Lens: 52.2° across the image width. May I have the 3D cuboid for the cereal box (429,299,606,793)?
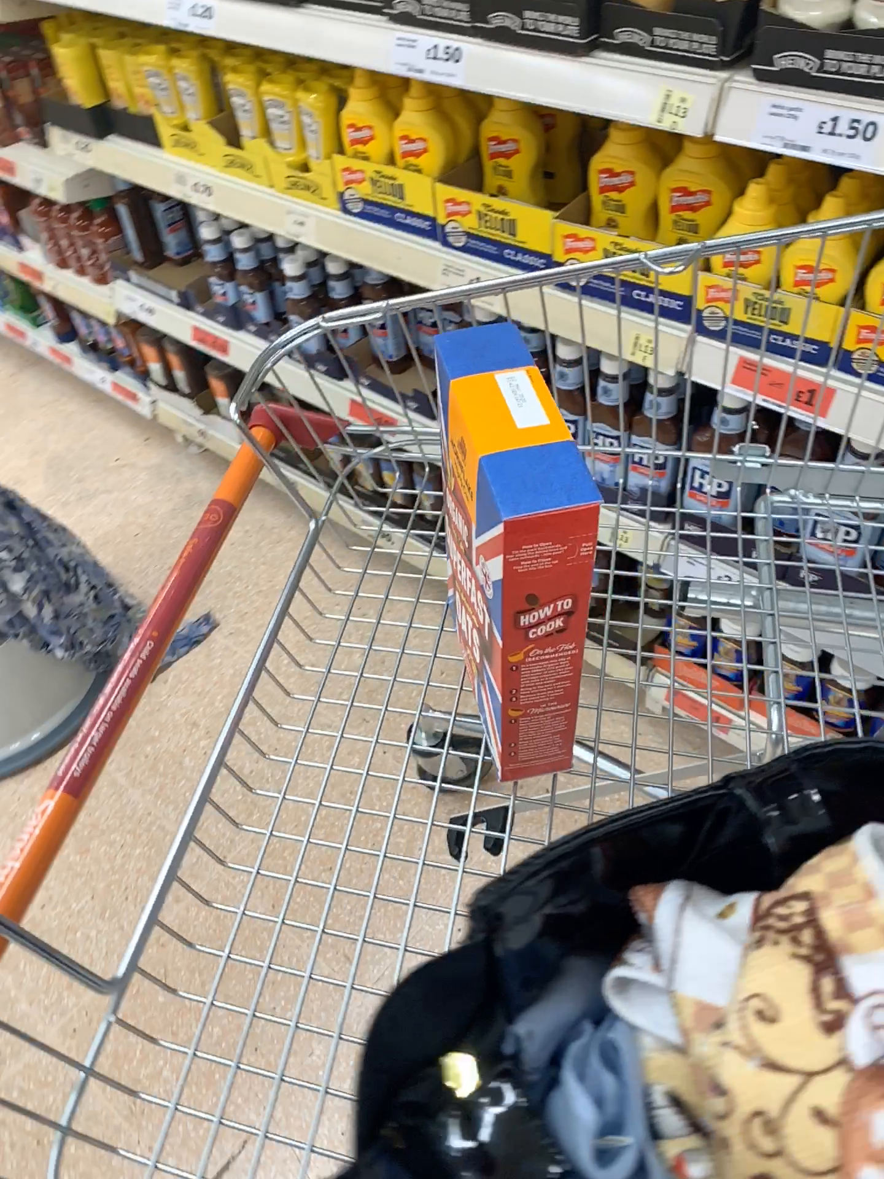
[{"bbox_3d":[0.040,-0.020,0.580,0.050,0.258,0.182,-10,47,-6],"label":"cereal box"}]
